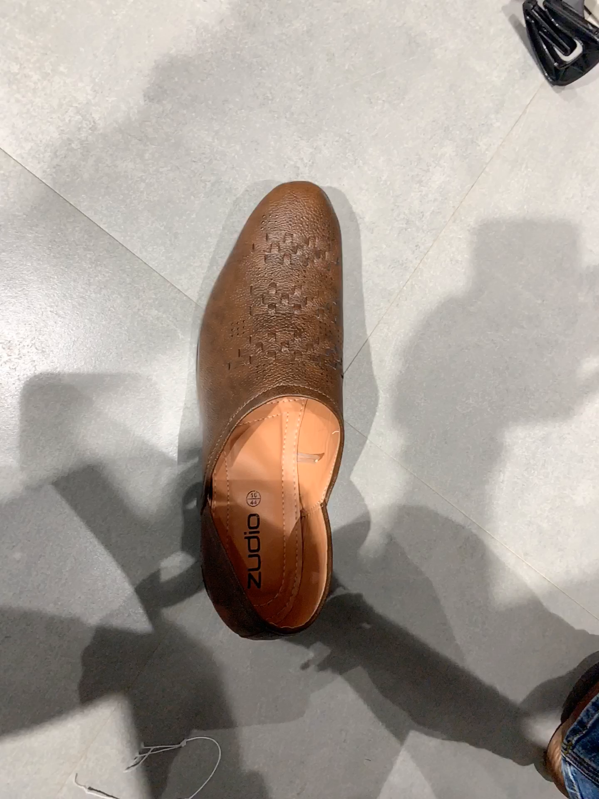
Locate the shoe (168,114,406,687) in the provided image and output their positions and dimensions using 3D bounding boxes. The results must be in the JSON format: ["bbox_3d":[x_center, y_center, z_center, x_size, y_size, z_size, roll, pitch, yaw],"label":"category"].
[{"bbox_3d":[-0.015,0.002,0.379,0.100,0.110,0.290,3,91,-20],"label":"shoe"}]
